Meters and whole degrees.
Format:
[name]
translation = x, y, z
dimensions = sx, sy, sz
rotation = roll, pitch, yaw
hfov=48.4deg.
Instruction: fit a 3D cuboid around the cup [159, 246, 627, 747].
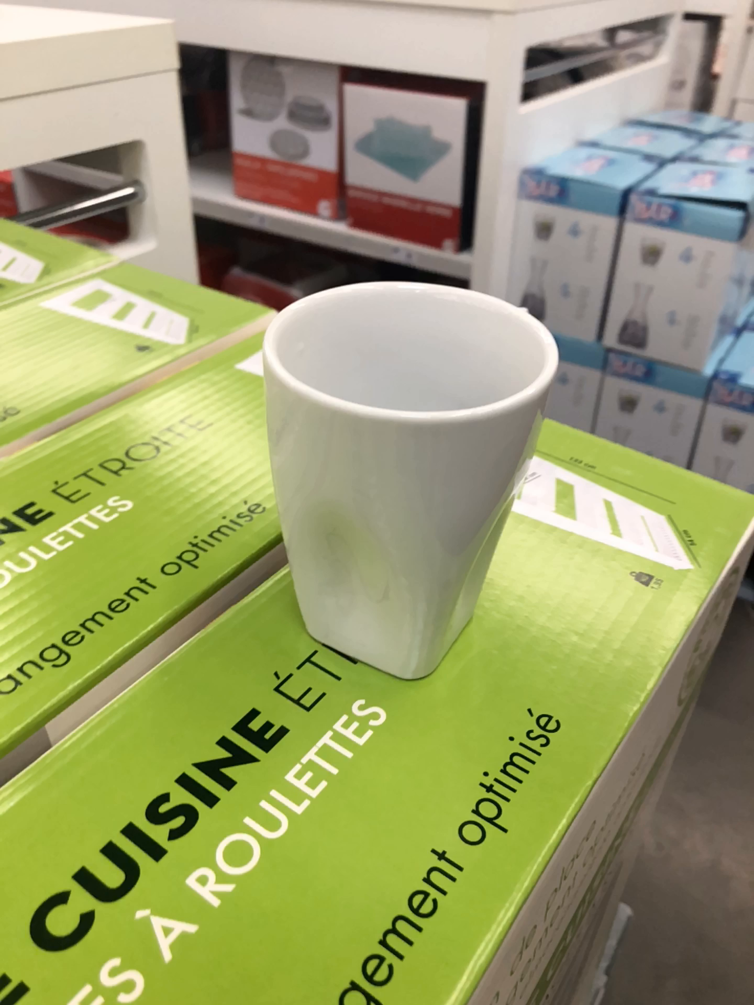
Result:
[cup]
translation = 0.010, -0.011, 0.253
dimensions = 0.083, 0.087, 0.112
rotation = 20, 39, 24
